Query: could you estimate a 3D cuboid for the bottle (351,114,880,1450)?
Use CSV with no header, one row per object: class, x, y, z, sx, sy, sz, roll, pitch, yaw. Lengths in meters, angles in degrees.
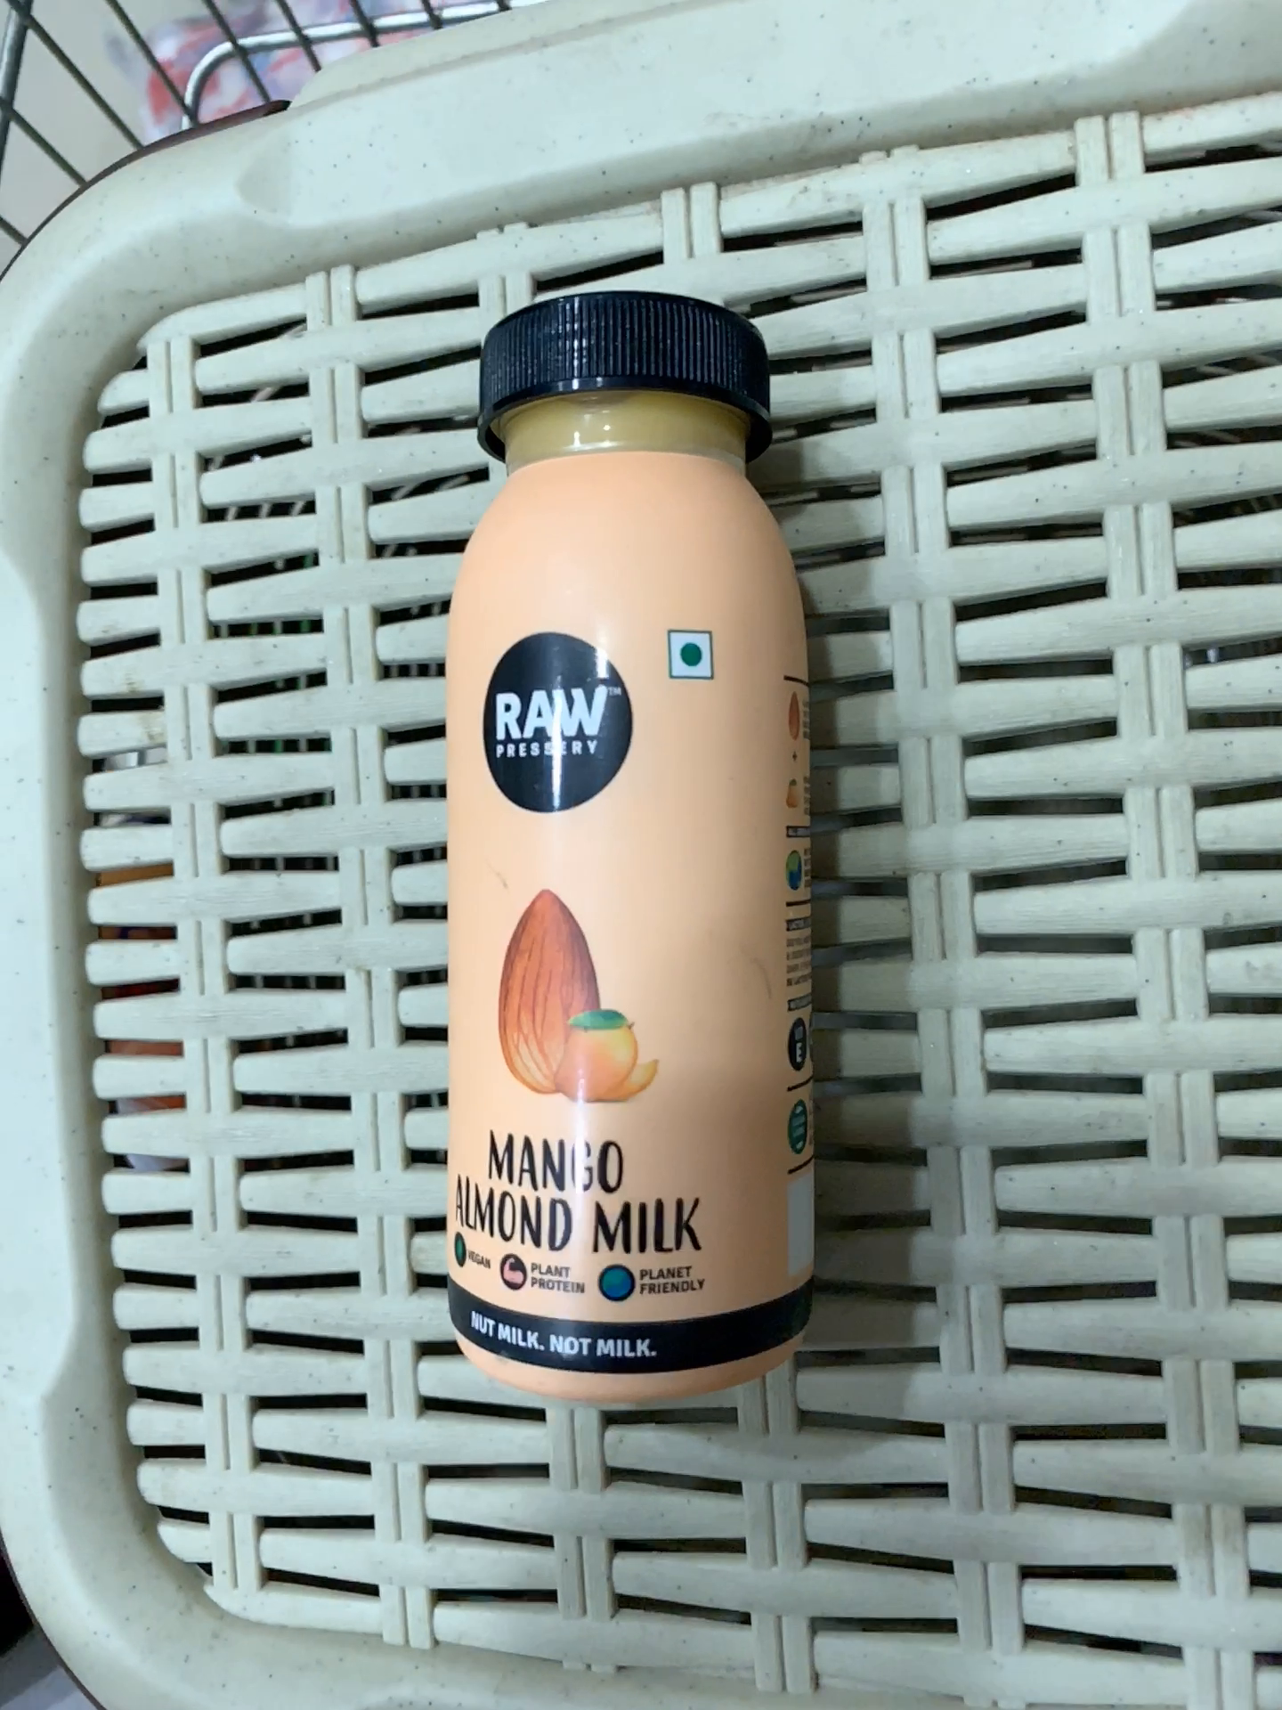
bottle,-0.001,-0.009,0.176,0.060,0.040,0.150,1,89,13
